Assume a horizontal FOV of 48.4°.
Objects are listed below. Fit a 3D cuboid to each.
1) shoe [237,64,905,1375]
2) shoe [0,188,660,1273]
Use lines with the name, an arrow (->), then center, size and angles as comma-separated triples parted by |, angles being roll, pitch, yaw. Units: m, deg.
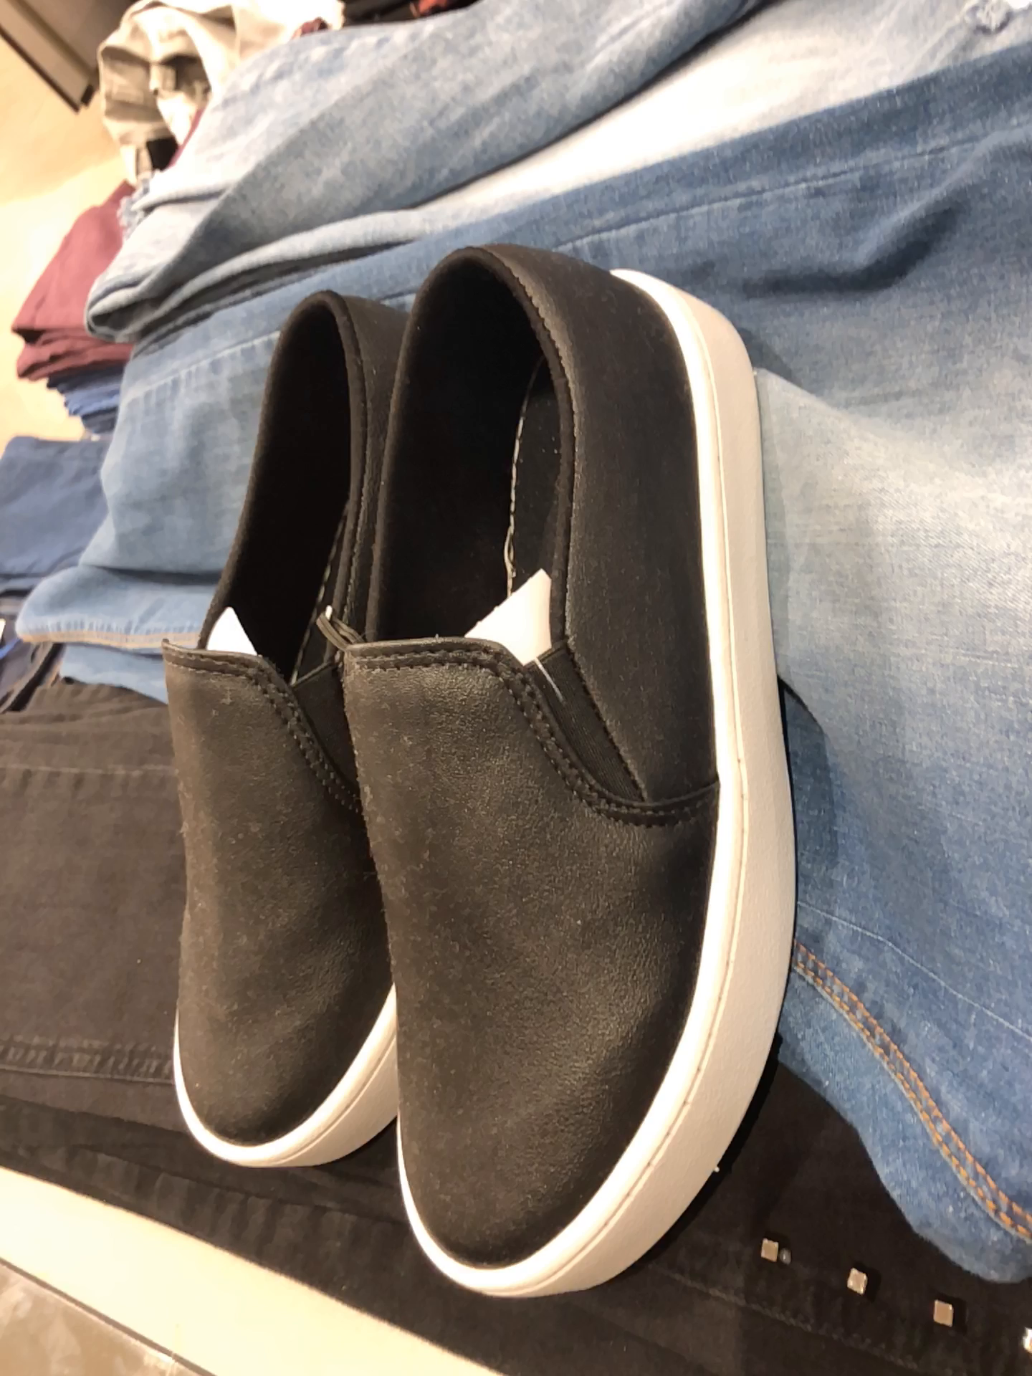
shoe -> 0.023, 0.007, 0.291 | 0.110, 0.100, 0.260 | -3, 76, 37
shoe -> -0.053, 0.009, 0.343 | 0.110, 0.100, 0.260 | 6, 81, 41
